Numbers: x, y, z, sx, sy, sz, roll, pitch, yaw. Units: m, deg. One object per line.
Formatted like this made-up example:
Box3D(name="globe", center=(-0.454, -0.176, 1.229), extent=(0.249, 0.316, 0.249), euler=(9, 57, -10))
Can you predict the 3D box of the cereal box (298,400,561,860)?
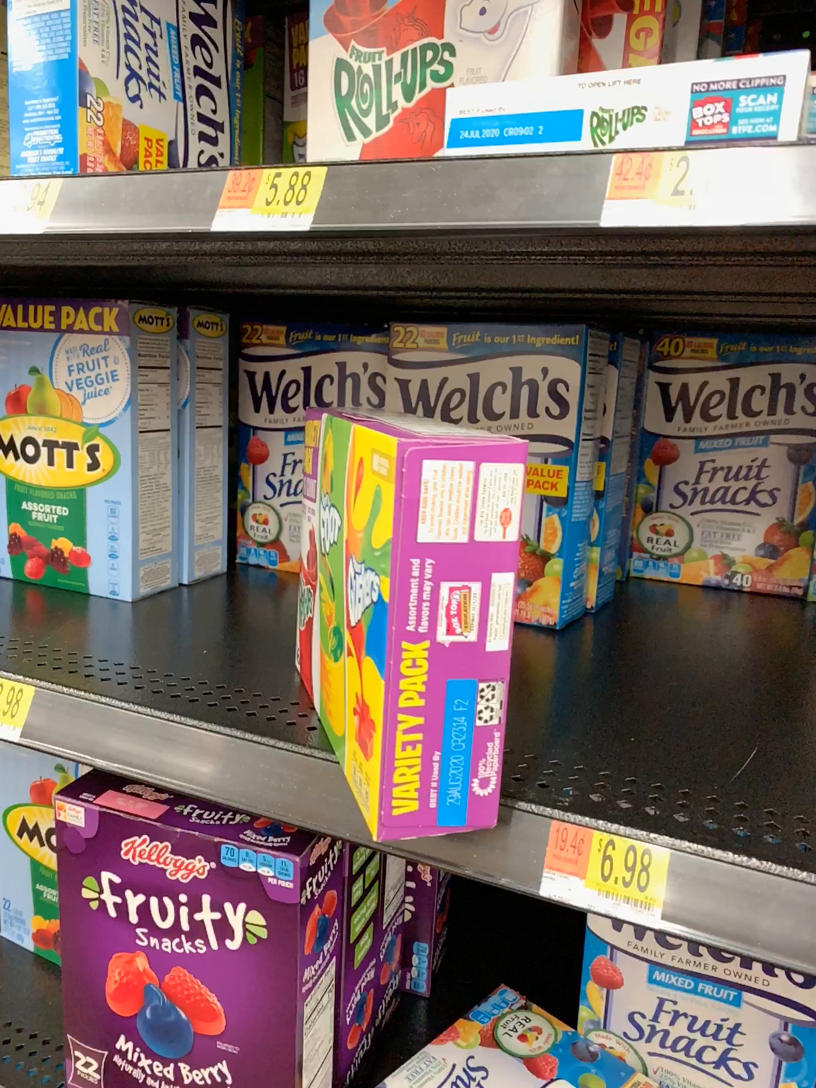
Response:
Box3D(name="cereal box", center=(-0.006, 0.019, 0.433), extent=(0.060, 0.170, 0.221), euler=(-1, 13, -17))
